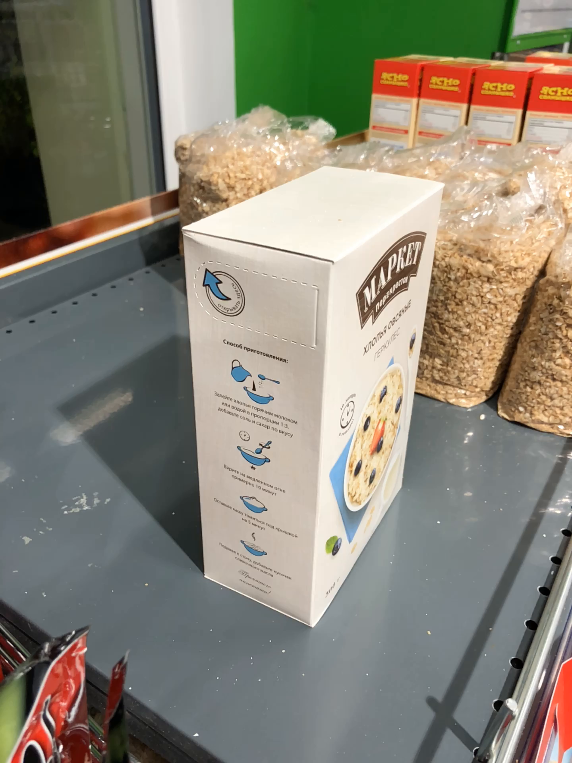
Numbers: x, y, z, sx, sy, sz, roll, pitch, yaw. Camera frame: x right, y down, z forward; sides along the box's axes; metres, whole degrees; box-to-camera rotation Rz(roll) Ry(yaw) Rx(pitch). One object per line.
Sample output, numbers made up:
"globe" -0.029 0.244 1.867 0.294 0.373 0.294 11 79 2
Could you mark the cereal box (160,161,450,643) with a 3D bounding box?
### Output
"cereal box" 0.014 0.005 0.316 0.070 0.189 0.131 17 34 24
